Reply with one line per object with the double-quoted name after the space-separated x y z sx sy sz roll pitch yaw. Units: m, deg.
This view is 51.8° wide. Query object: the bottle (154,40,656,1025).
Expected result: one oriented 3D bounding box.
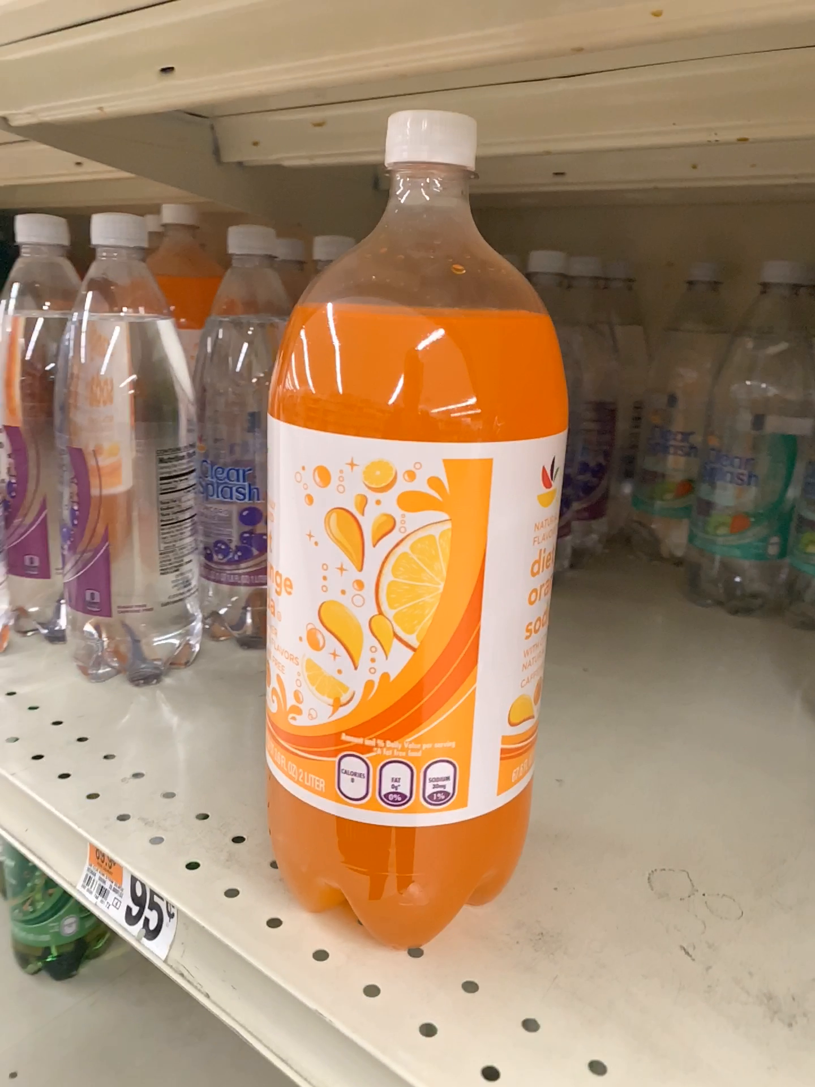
-0.007 -0.003 0.314 0.110 0.289 0.120 2 17 -1 "bottle"
